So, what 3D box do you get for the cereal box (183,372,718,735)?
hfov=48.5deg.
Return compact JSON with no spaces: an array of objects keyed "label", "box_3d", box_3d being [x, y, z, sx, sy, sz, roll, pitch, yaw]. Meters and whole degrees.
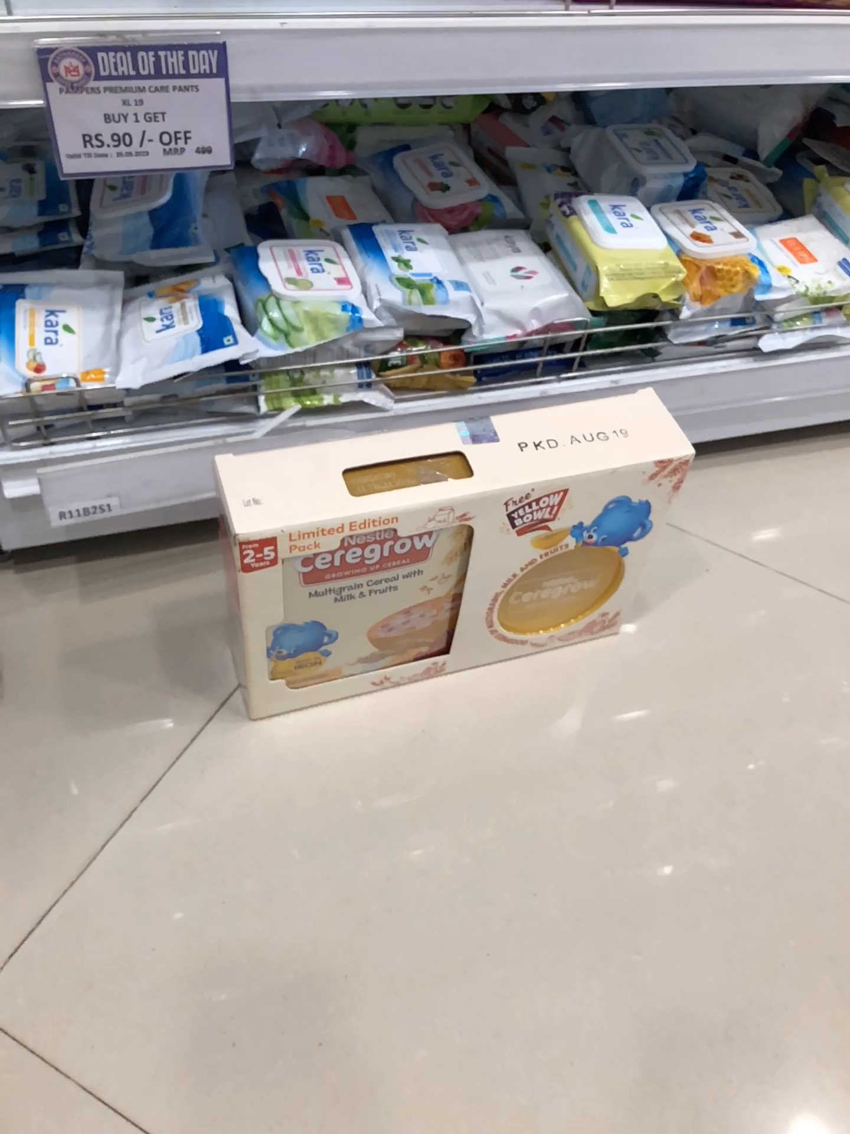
[{"label":"cereal box","box_3d":[0.012,-0.006,0.634,0.311,0.209,0.070,-11,52,-16]}]
